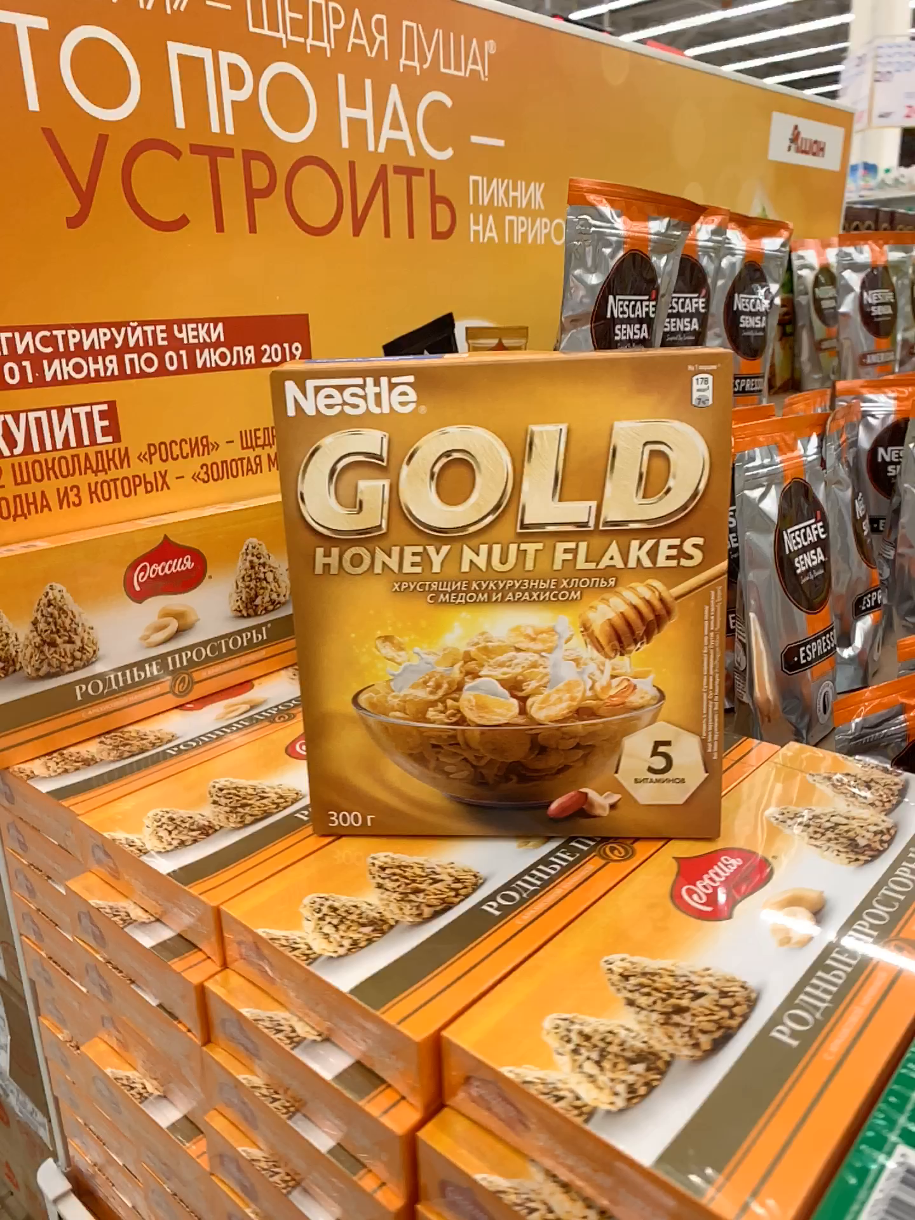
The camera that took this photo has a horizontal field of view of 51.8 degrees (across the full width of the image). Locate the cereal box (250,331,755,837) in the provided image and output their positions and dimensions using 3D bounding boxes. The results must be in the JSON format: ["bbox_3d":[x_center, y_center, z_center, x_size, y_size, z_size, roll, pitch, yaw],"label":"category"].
[{"bbox_3d":[0.022,-0.010,0.434,0.200,0.219,0.060,-1,17,5],"label":"cereal box"}]
